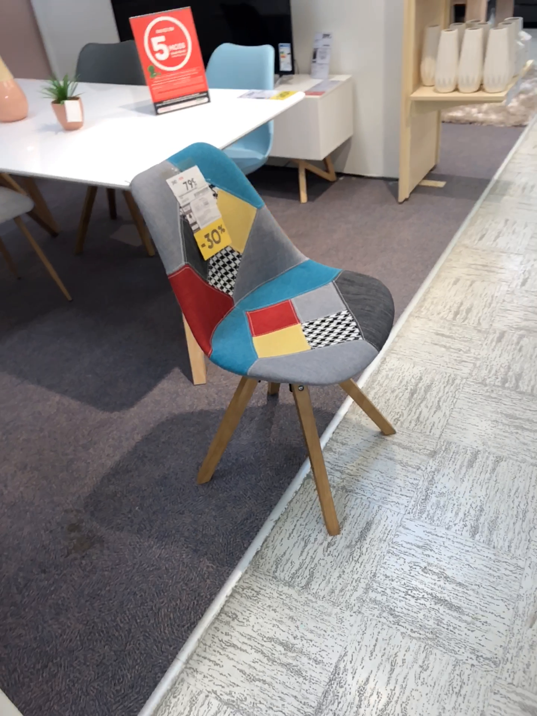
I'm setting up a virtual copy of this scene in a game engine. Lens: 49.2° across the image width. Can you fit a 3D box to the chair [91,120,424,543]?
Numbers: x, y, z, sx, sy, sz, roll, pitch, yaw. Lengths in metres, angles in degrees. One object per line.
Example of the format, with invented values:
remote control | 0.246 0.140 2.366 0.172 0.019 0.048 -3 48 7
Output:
chair | 0.032 -0.074 1.424 0.510 0.815 0.473 14 42 26
